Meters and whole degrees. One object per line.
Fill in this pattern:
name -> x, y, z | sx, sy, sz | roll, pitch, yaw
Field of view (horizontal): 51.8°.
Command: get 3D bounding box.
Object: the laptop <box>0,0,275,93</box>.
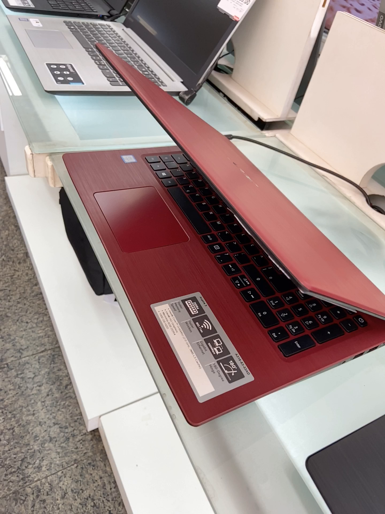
laptop -> -0.129, -0.503, 0.752 | 0.378, 0.215, 0.354 | -12, 50, -26

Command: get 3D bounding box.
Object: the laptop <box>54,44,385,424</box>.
laptop -> 0.030, -0.077, 0.410 | 0.237, 0.132, 0.381 | -13, 49, -27
